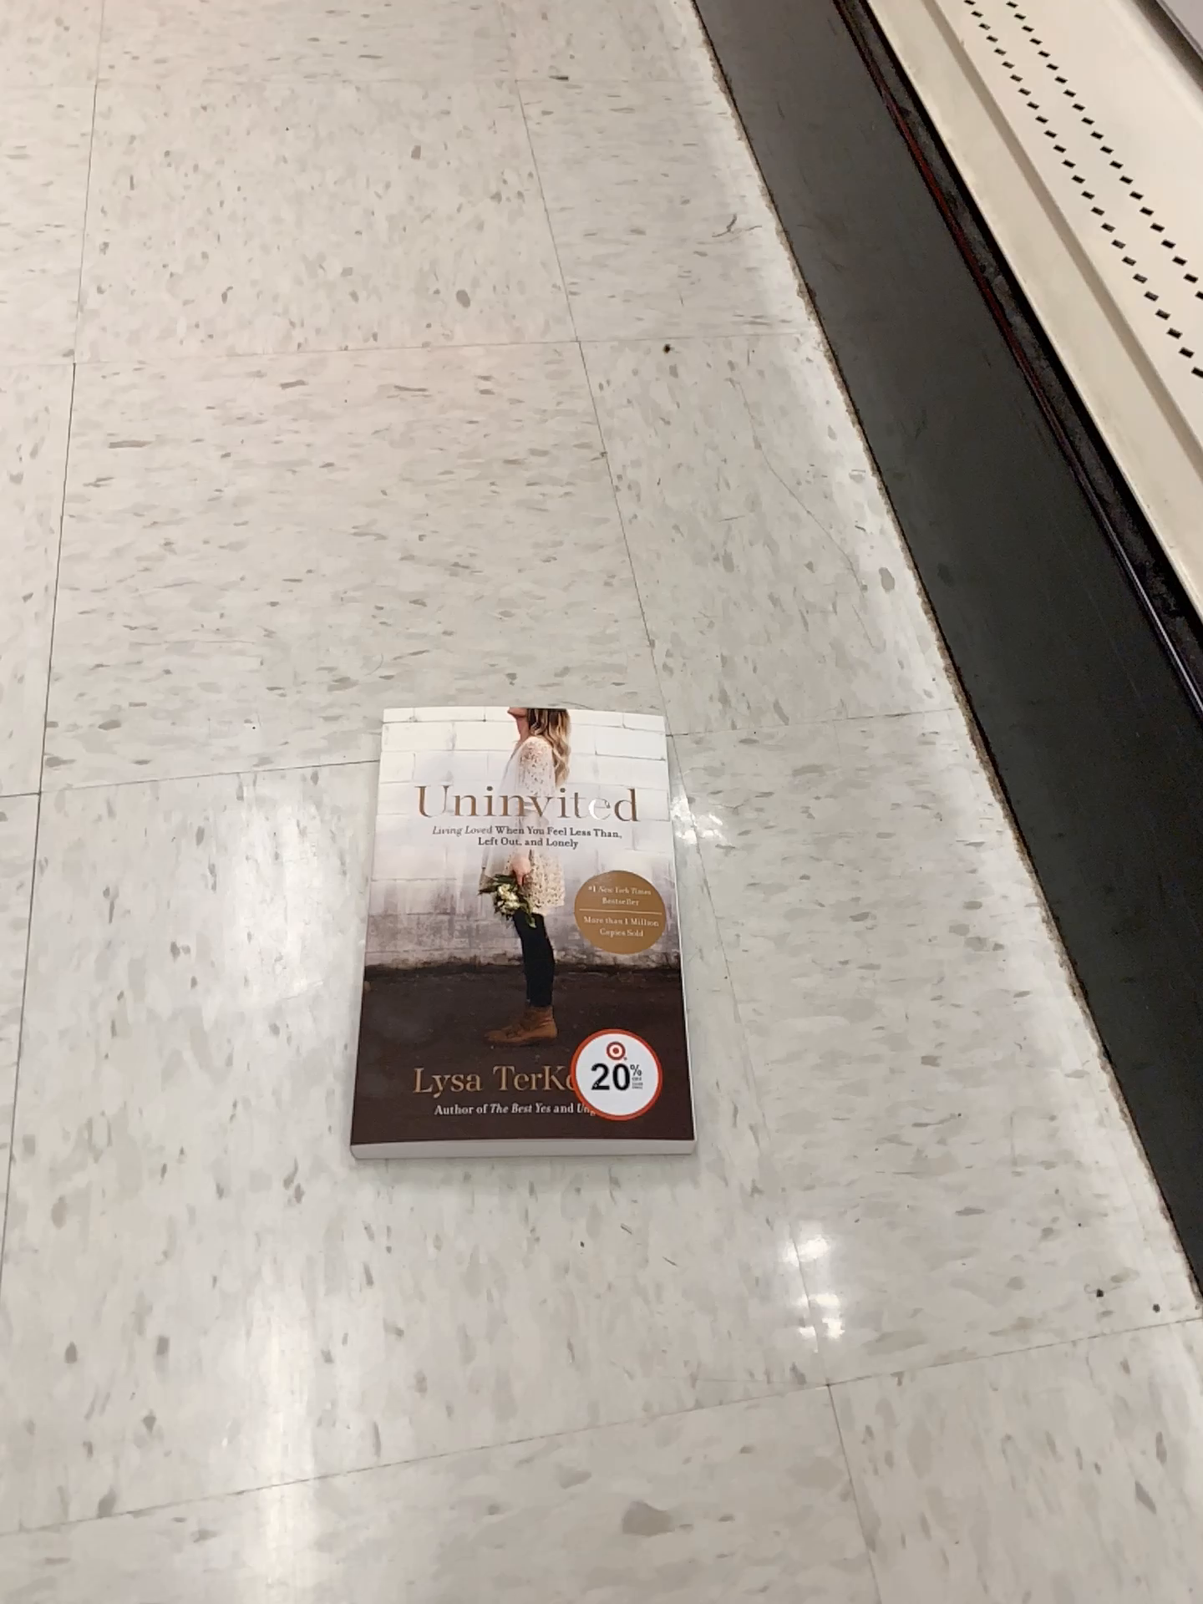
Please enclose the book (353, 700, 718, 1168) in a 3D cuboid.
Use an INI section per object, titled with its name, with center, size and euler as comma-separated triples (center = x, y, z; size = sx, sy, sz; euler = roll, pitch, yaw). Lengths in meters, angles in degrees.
[book]
center = -0.030, 0.050, 0.541
size = 0.140, 0.030, 0.211
euler = 0, 58, -5
